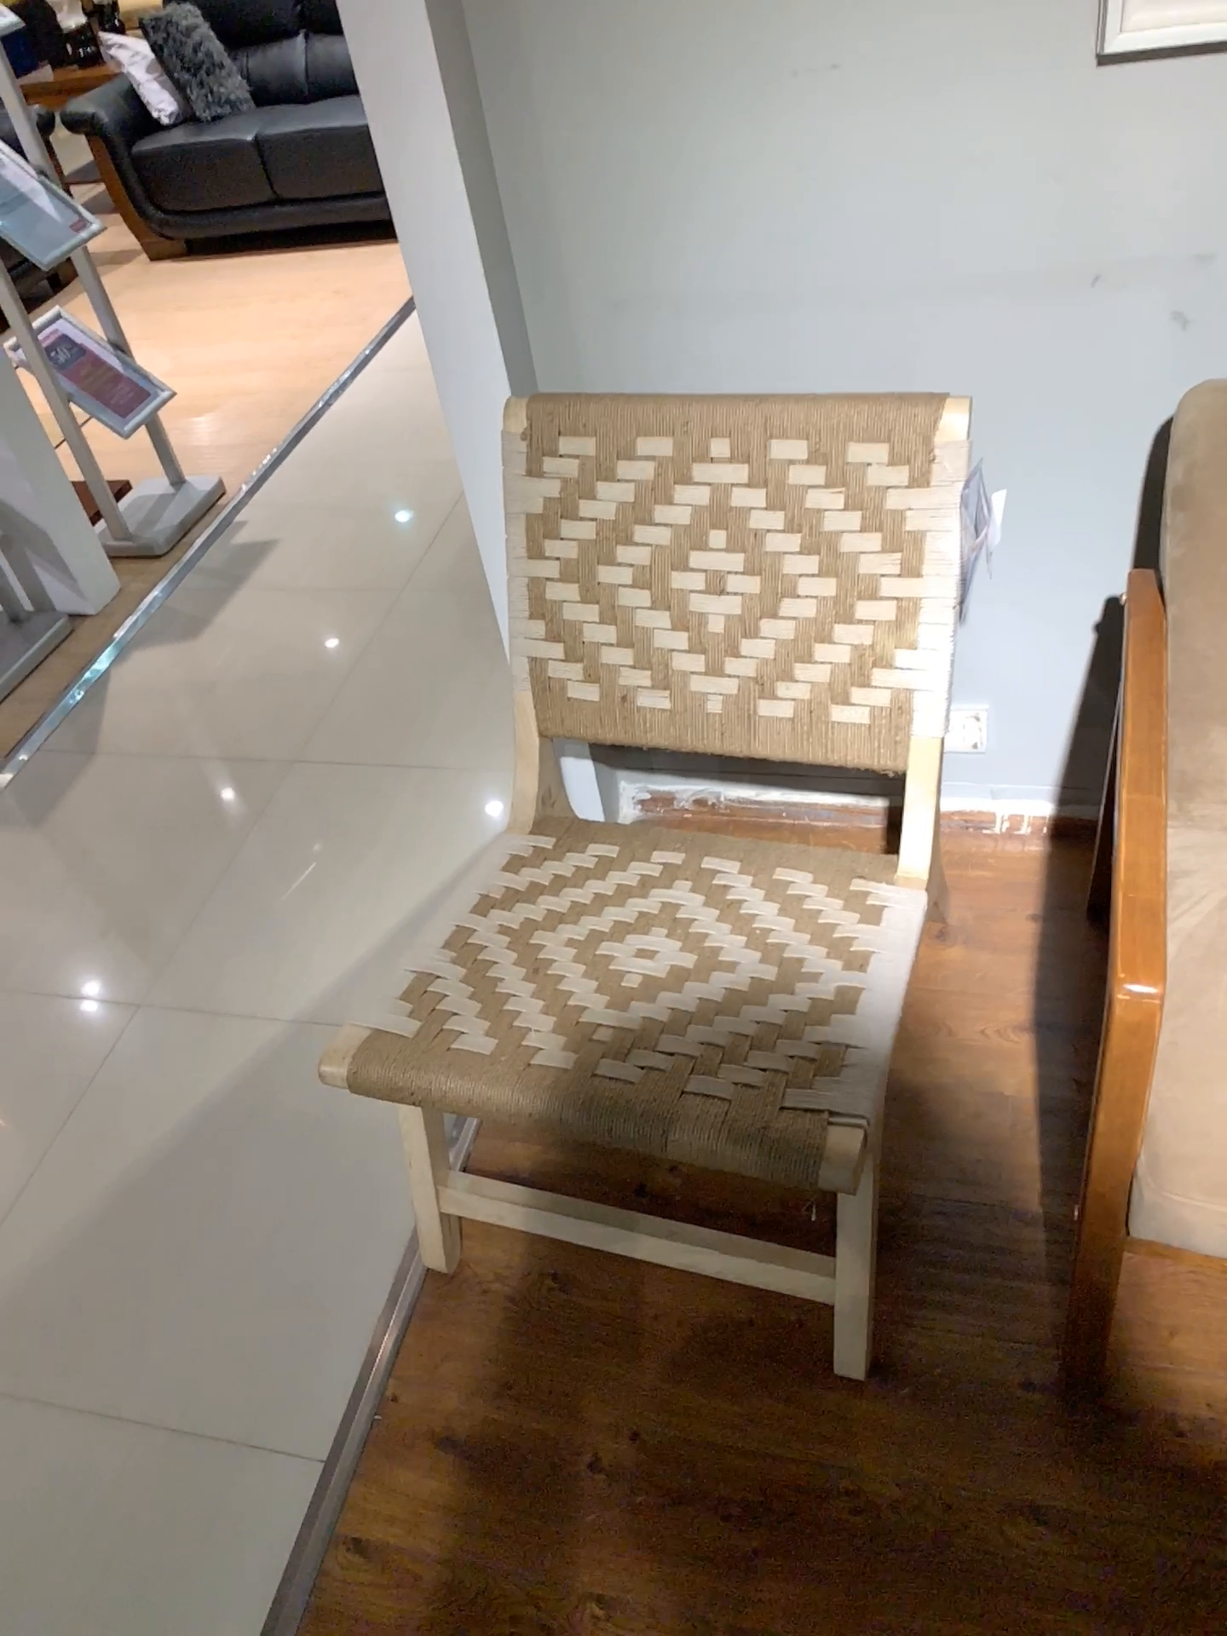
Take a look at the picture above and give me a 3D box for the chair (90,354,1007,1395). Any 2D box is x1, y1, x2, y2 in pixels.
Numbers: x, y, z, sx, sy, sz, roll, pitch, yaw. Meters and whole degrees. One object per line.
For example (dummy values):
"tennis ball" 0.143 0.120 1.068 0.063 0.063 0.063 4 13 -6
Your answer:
"chair" 0.051 0.048 1.377 0.631 0.846 0.662 6 44 19
